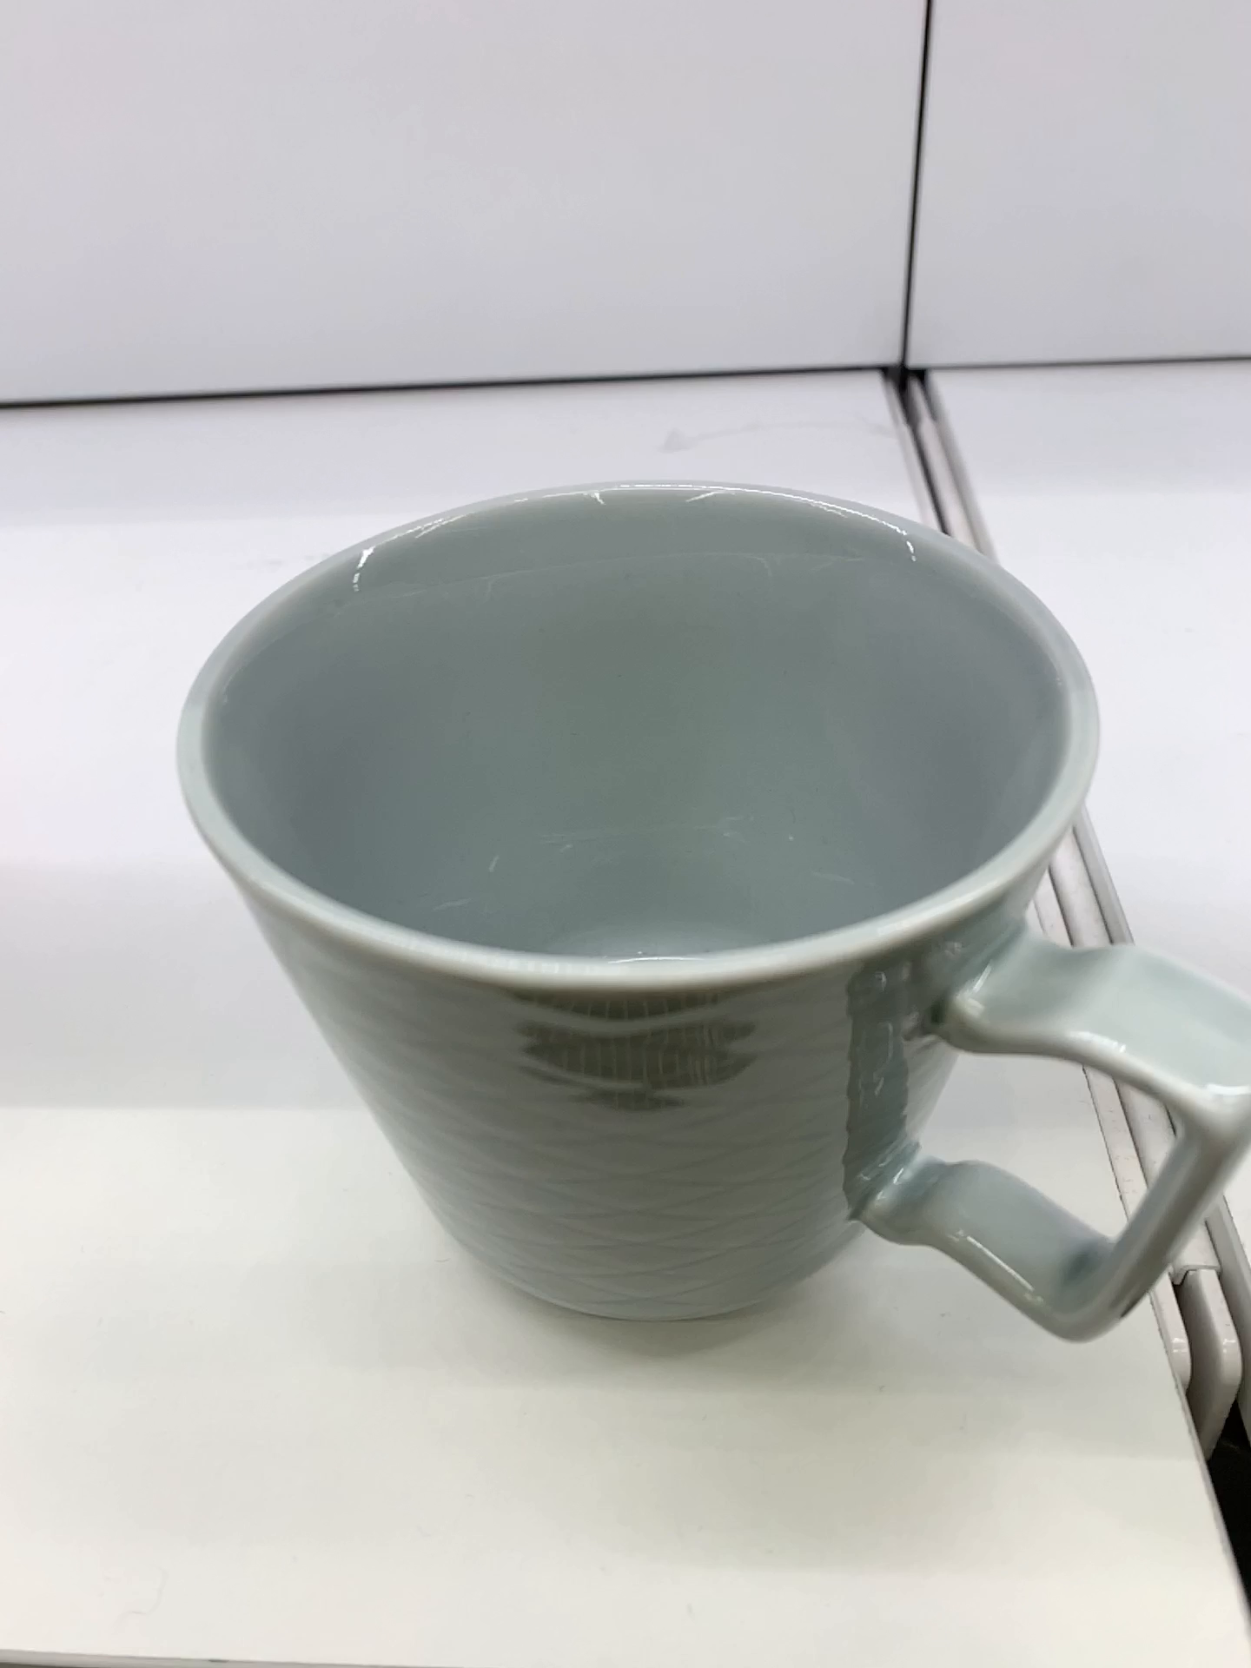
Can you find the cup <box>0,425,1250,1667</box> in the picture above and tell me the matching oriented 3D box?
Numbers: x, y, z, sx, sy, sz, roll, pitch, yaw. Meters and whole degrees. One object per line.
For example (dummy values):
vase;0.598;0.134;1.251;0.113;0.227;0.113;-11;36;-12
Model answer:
cup;0.014;0.017;0.173;0.124;0.088;0.109;24;45;31
